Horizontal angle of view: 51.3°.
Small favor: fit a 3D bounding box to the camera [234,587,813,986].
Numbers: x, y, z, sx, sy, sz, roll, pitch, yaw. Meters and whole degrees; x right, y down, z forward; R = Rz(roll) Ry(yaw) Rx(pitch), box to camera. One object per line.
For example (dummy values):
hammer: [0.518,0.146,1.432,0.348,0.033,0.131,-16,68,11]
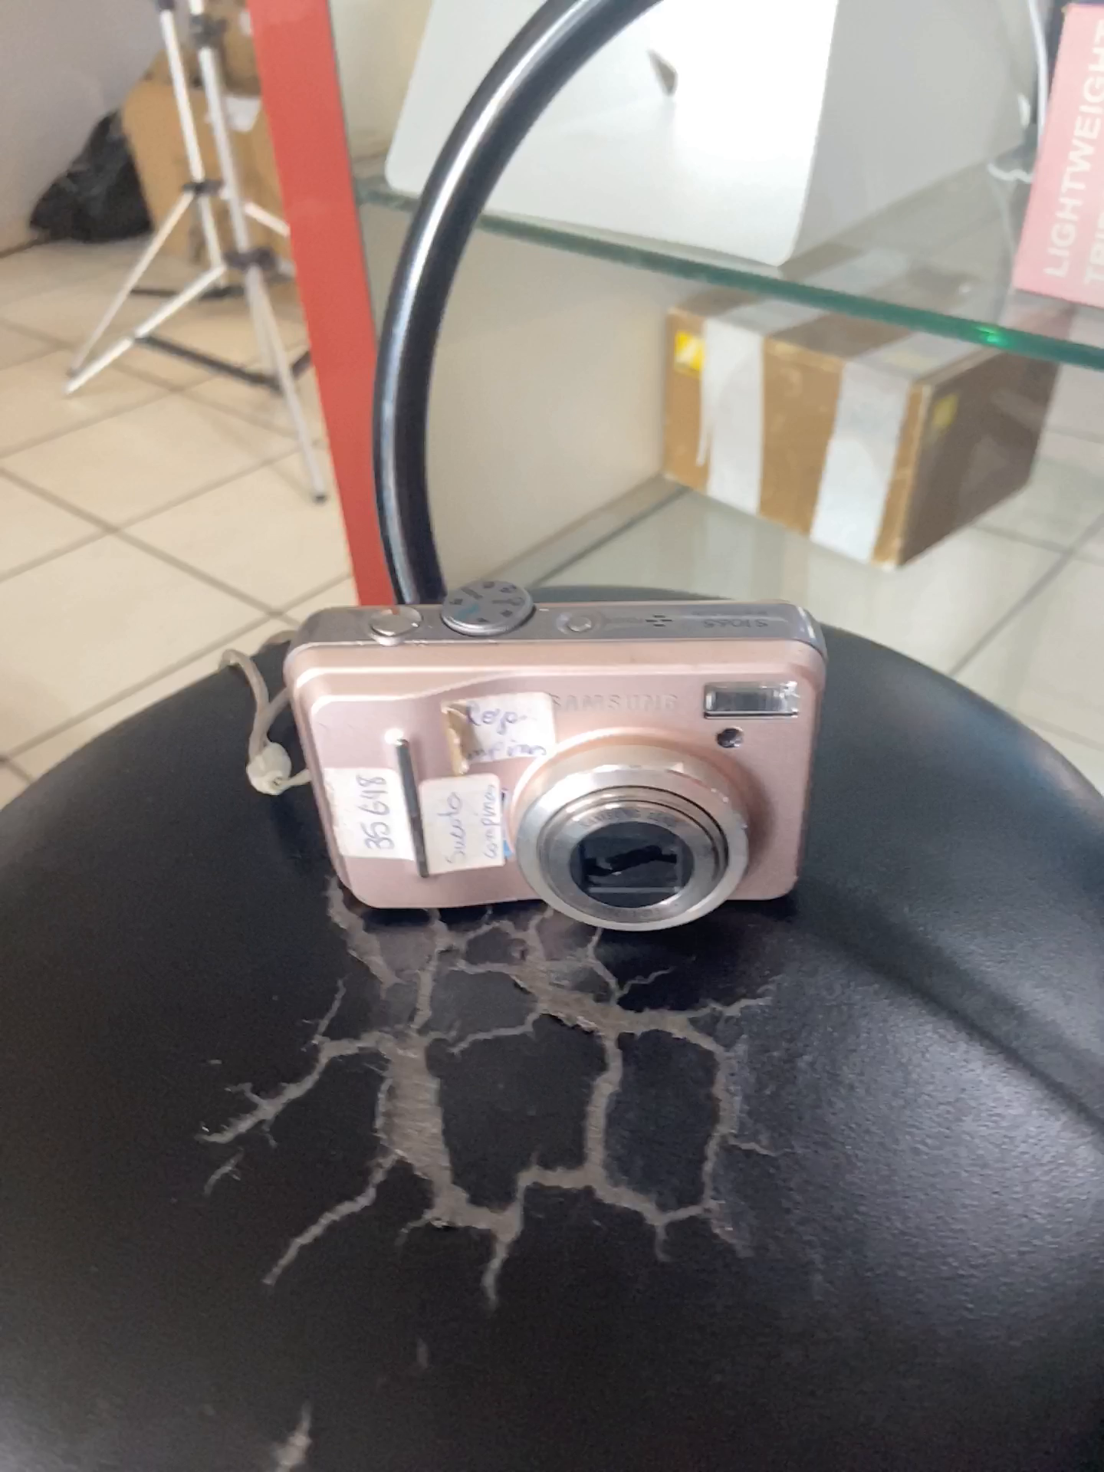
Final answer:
camera: [-0.004,0.011,0.235,0.100,0.070,0.040,-1,38,2]
